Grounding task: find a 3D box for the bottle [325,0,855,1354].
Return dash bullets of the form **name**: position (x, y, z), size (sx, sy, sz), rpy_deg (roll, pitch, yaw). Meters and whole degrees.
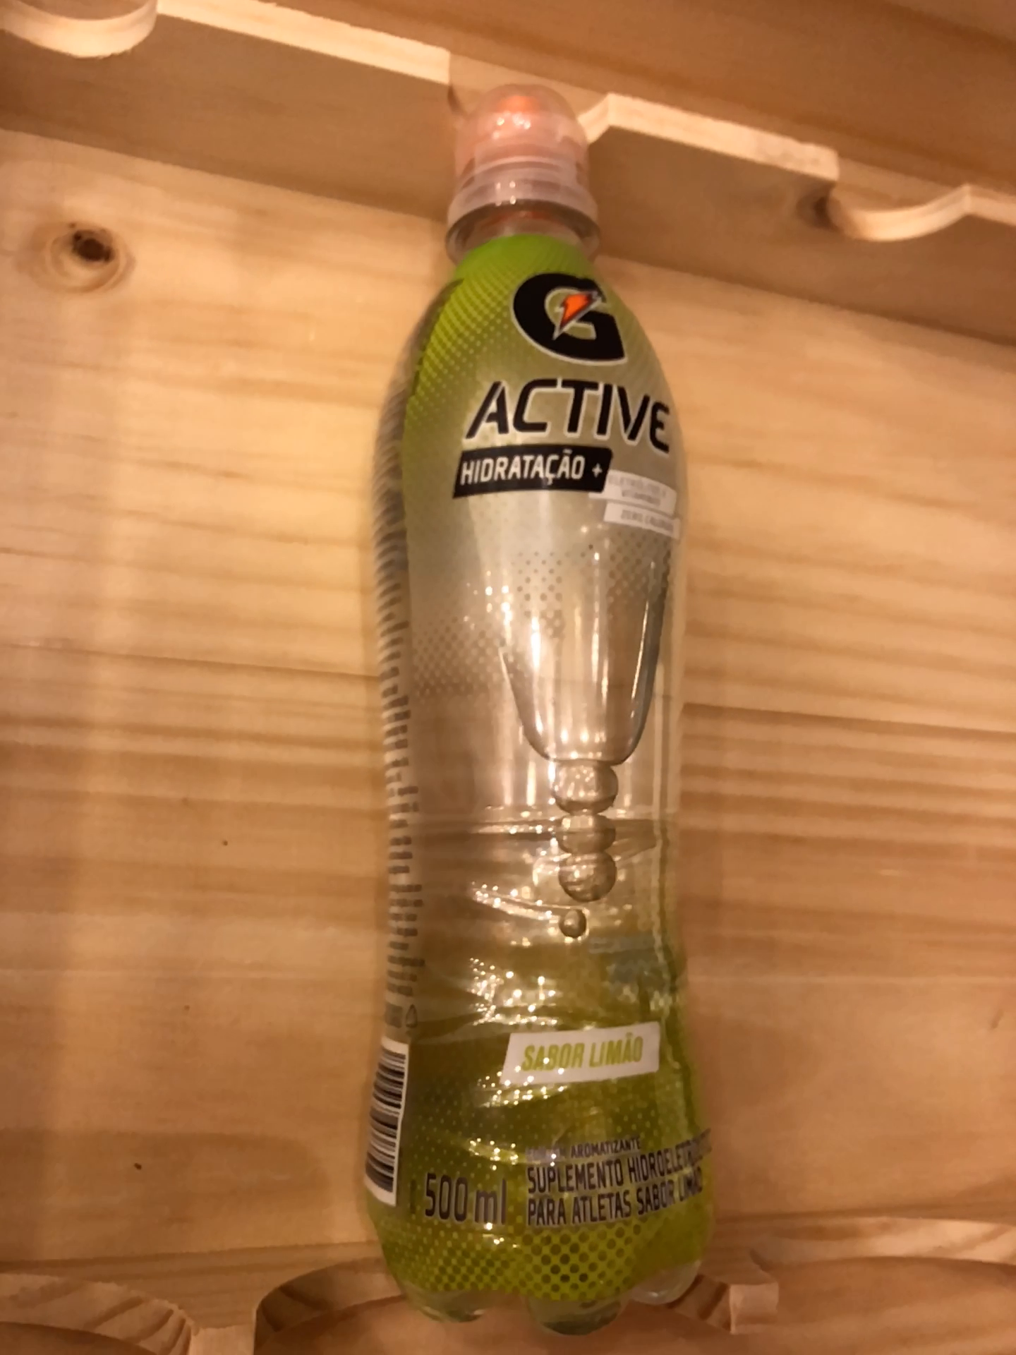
- **bottle**: position (0.005, -0.018, 0.227), size (0.070, 0.070, 0.270), rpy_deg (2, 76, -19)
